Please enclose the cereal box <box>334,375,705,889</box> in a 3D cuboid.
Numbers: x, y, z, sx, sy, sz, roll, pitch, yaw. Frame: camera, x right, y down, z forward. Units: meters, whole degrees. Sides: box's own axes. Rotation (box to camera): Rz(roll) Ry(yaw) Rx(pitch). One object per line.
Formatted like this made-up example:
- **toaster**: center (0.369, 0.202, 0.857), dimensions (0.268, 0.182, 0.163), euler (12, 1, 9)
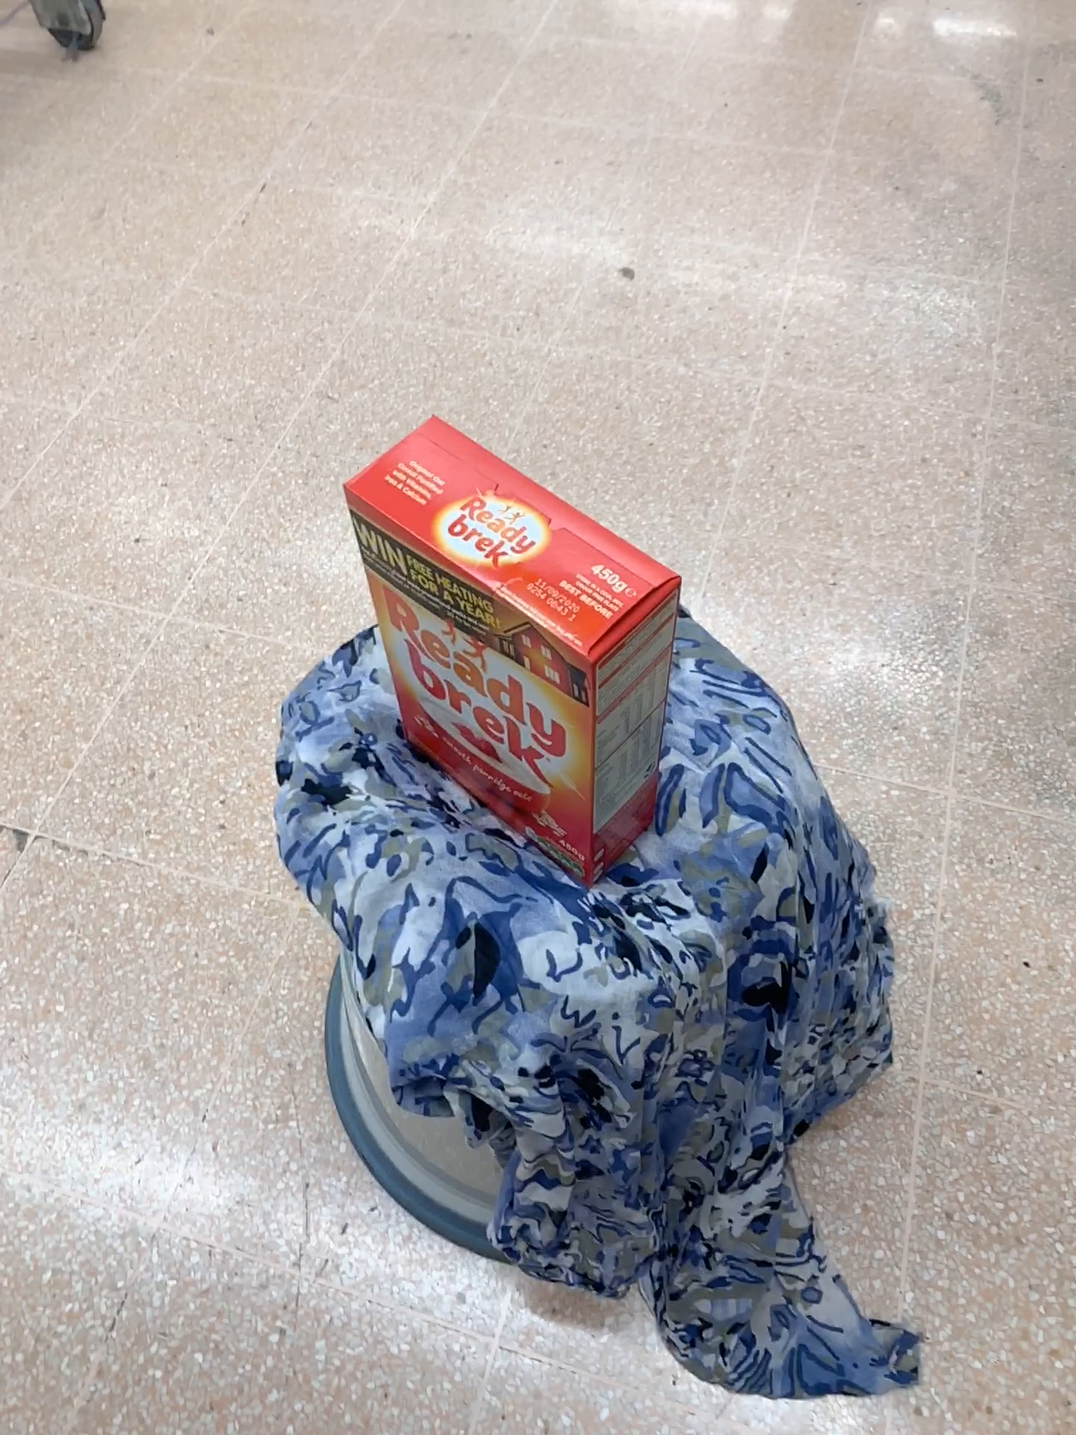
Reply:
- **cereal box**: center (-0.008, -0.033, 0.584), dimensions (0.171, 0.238, 0.060), euler (38, 65, 24)
